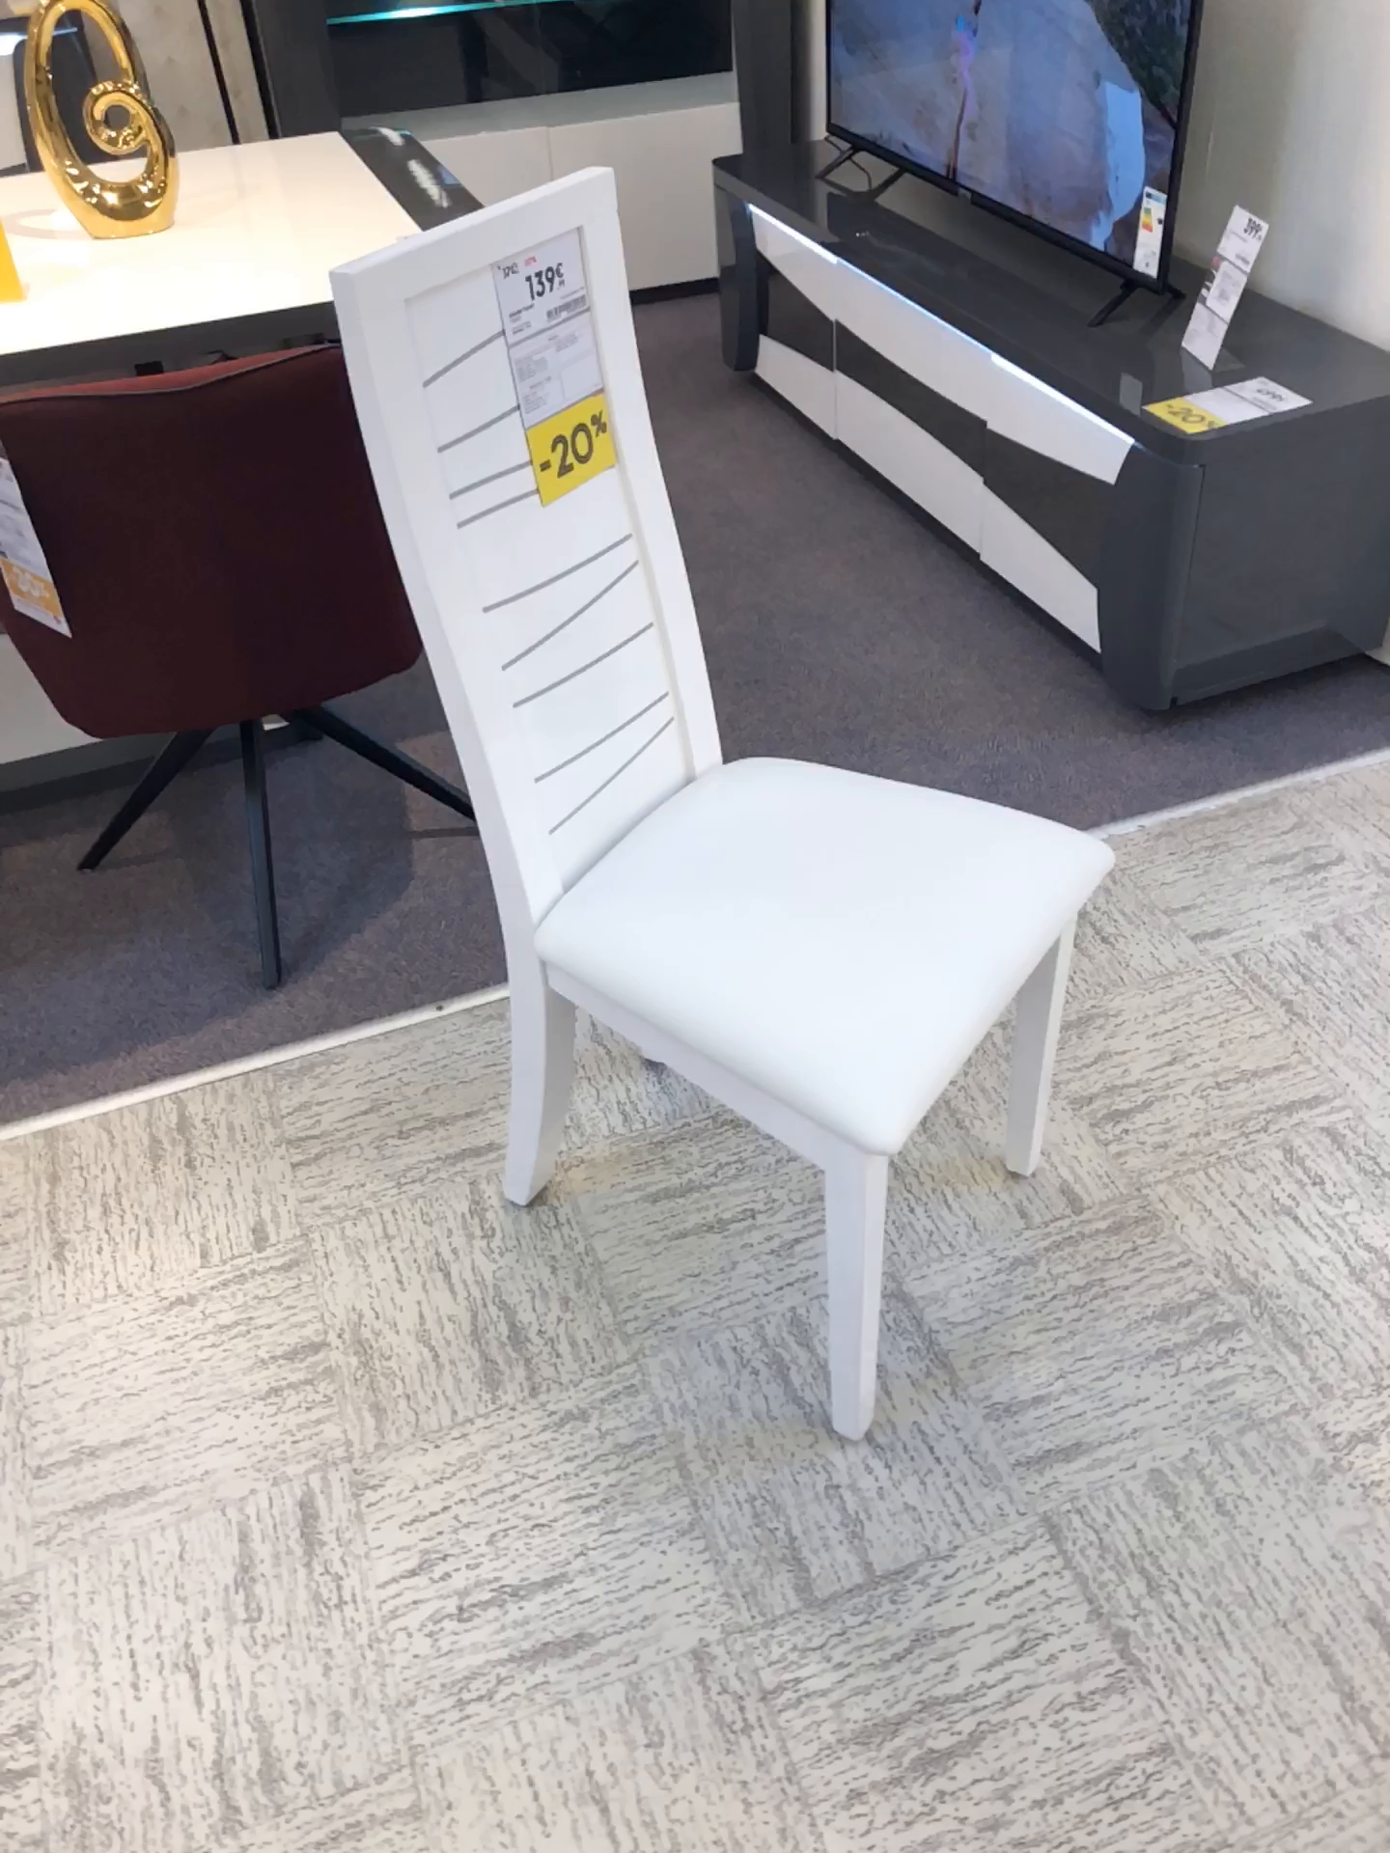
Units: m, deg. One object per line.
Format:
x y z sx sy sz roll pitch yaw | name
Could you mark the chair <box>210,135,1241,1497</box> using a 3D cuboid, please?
0.050 -0.074 1.346 0.540 1.004 0.453 22 46 28 | chair
